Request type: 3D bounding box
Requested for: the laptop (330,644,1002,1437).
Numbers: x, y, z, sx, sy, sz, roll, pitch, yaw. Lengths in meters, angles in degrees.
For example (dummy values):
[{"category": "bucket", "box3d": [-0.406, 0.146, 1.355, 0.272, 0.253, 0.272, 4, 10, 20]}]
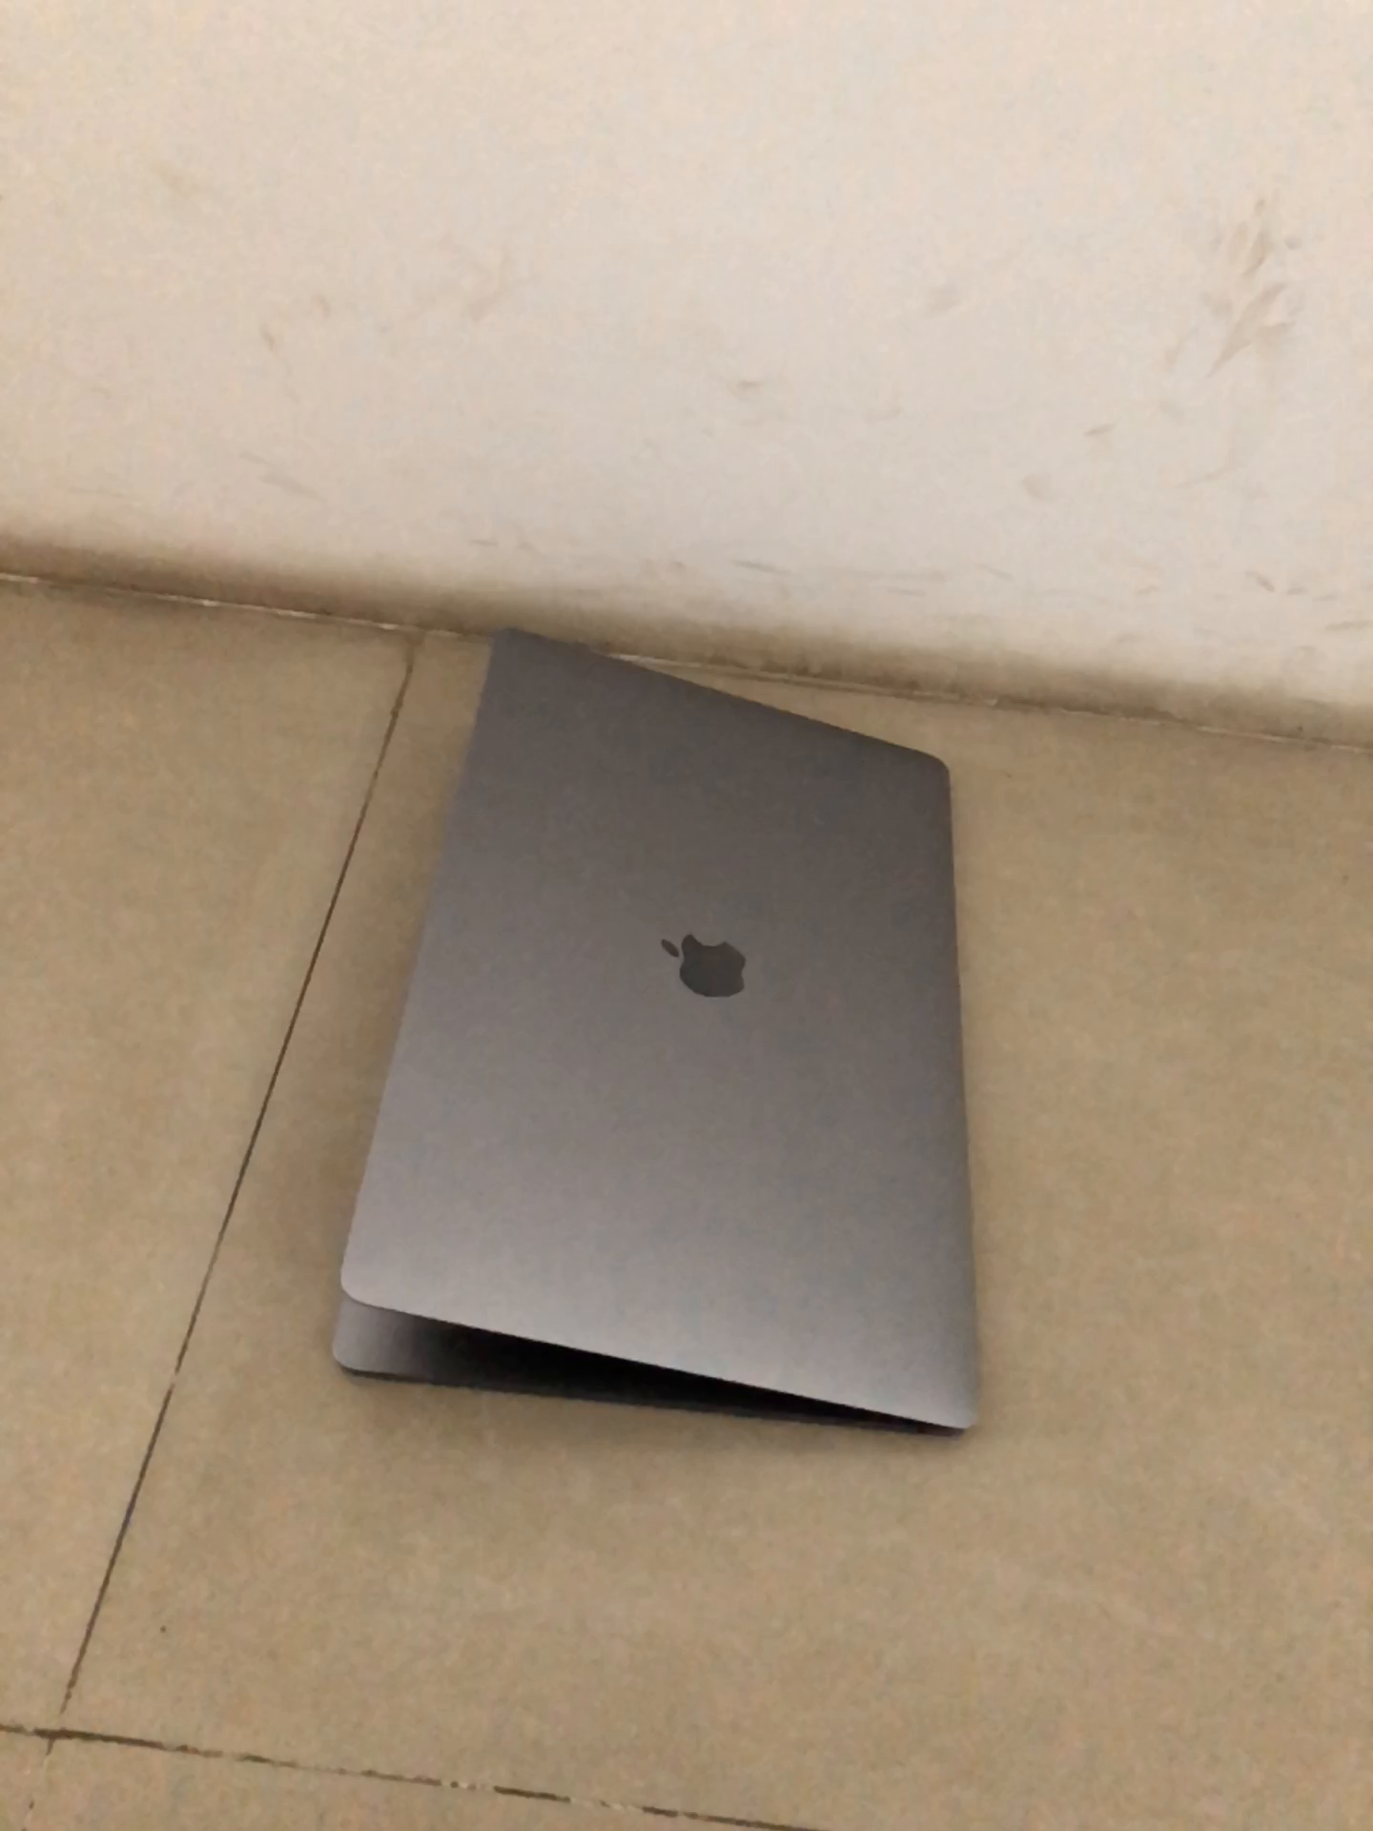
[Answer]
[{"category": "laptop", "box3d": [0.007, 0.031, 0.642, 0.232, 0.057, 0.336, 7, 51, 1]}]
